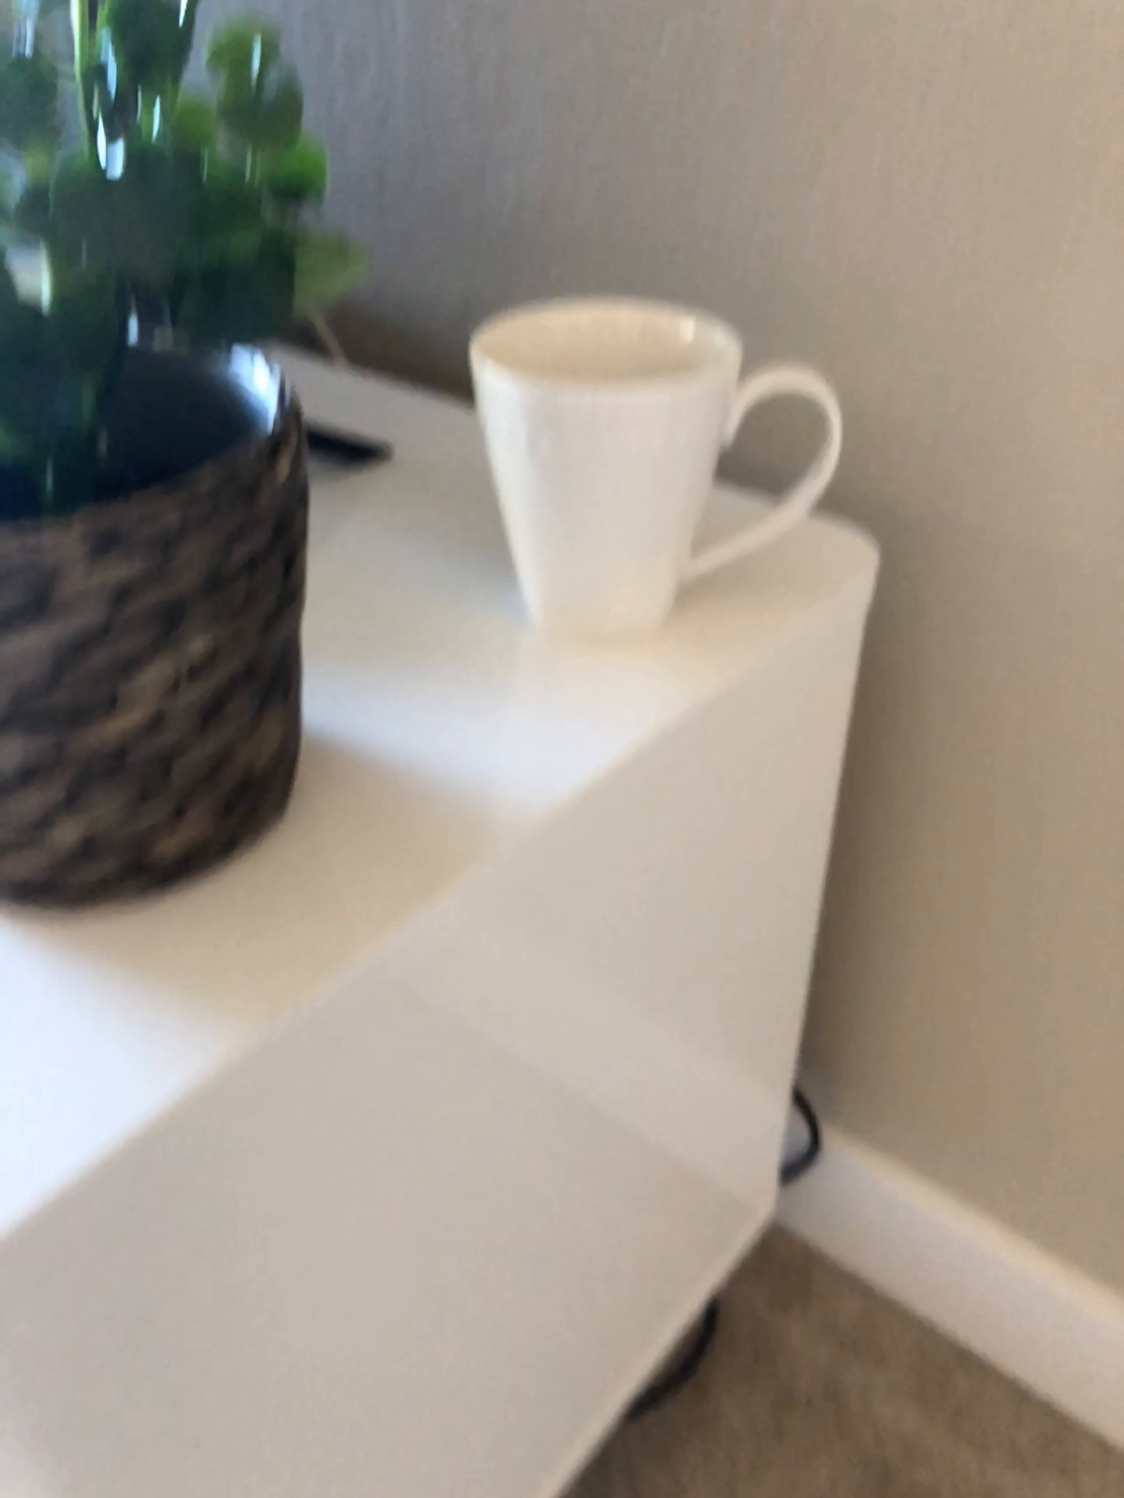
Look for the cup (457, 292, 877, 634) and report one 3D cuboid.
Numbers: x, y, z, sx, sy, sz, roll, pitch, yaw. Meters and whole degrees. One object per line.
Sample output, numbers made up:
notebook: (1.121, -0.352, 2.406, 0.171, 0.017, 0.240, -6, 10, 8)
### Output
cup: (0.034, -0.105, 0.456, 0.130, 0.090, 0.090, 2, 35, 2)
